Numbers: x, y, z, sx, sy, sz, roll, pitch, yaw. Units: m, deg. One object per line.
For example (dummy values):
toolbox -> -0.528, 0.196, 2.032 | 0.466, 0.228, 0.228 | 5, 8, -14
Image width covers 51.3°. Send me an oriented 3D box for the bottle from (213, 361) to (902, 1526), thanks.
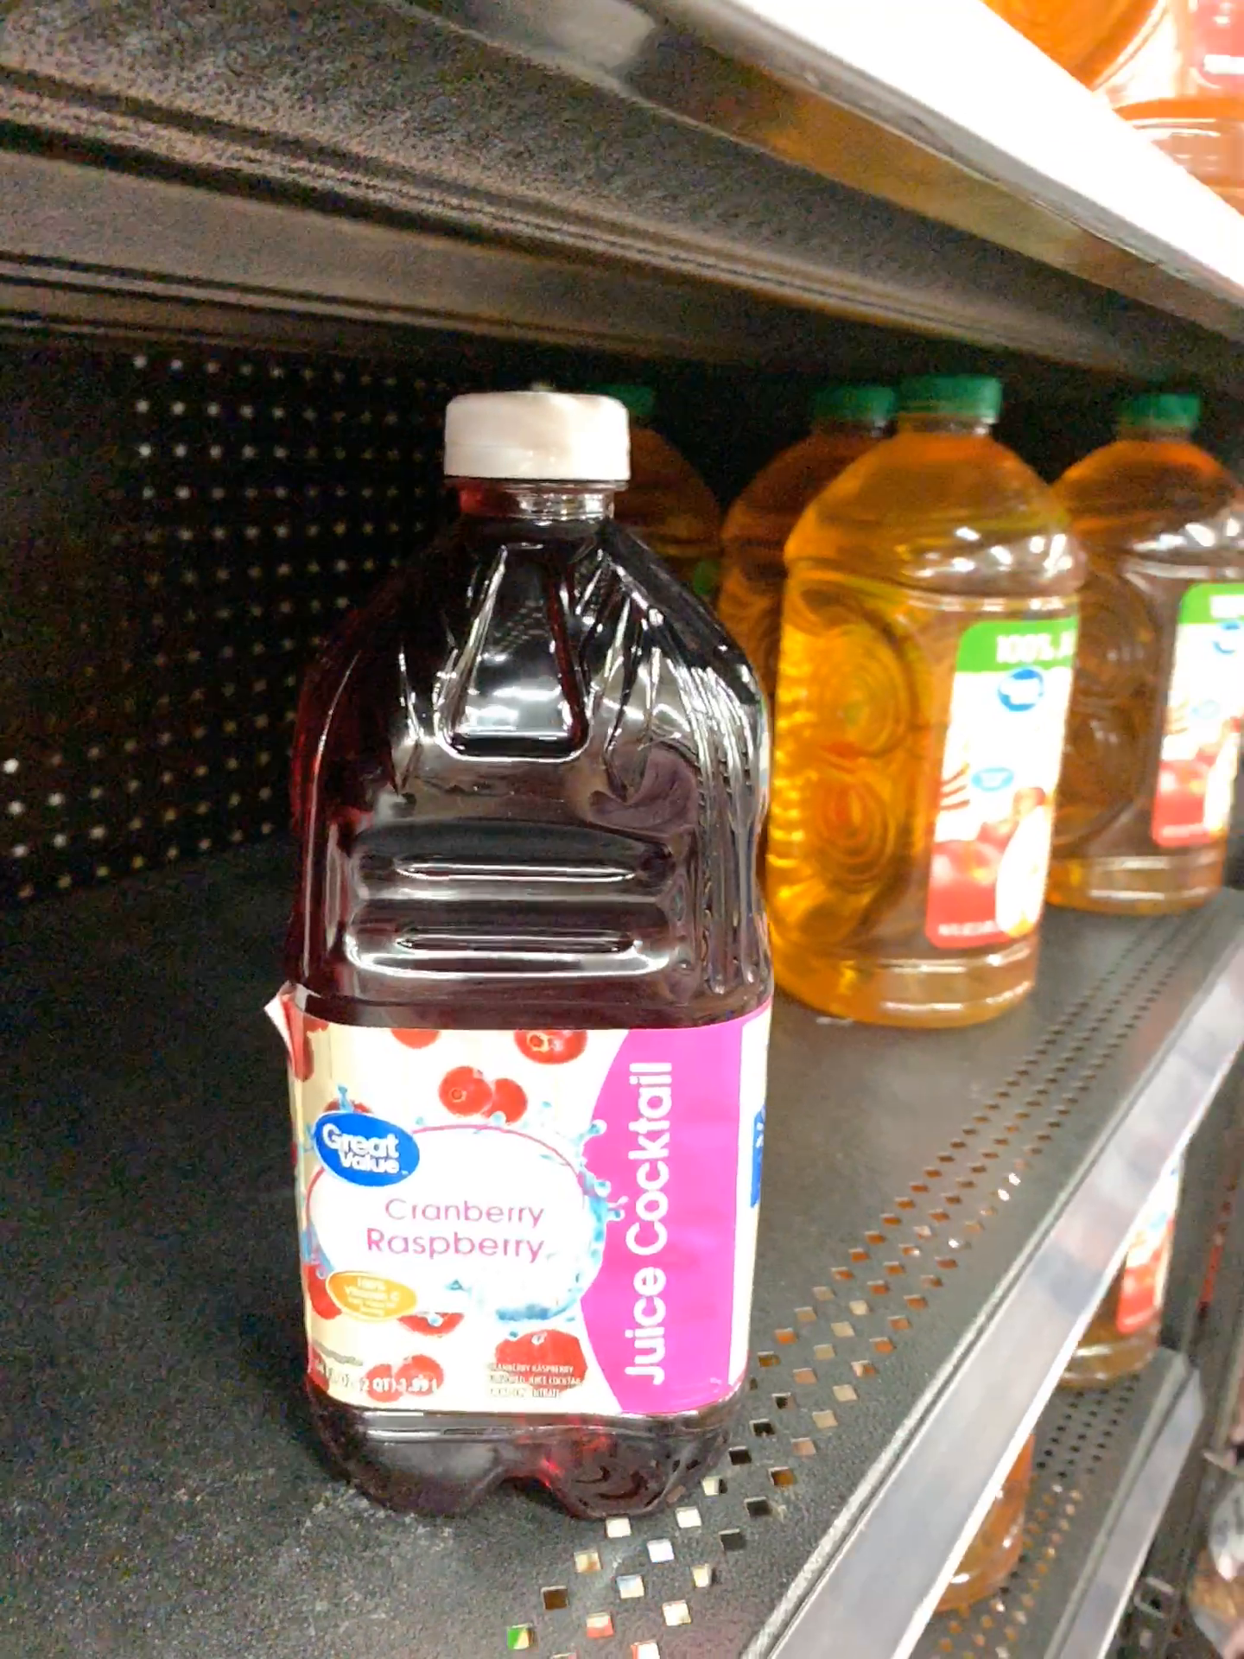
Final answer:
bottle -> -0.018, 0.026, 0.320 | 0.125, 0.259, 0.100 | 2, 17, -2
